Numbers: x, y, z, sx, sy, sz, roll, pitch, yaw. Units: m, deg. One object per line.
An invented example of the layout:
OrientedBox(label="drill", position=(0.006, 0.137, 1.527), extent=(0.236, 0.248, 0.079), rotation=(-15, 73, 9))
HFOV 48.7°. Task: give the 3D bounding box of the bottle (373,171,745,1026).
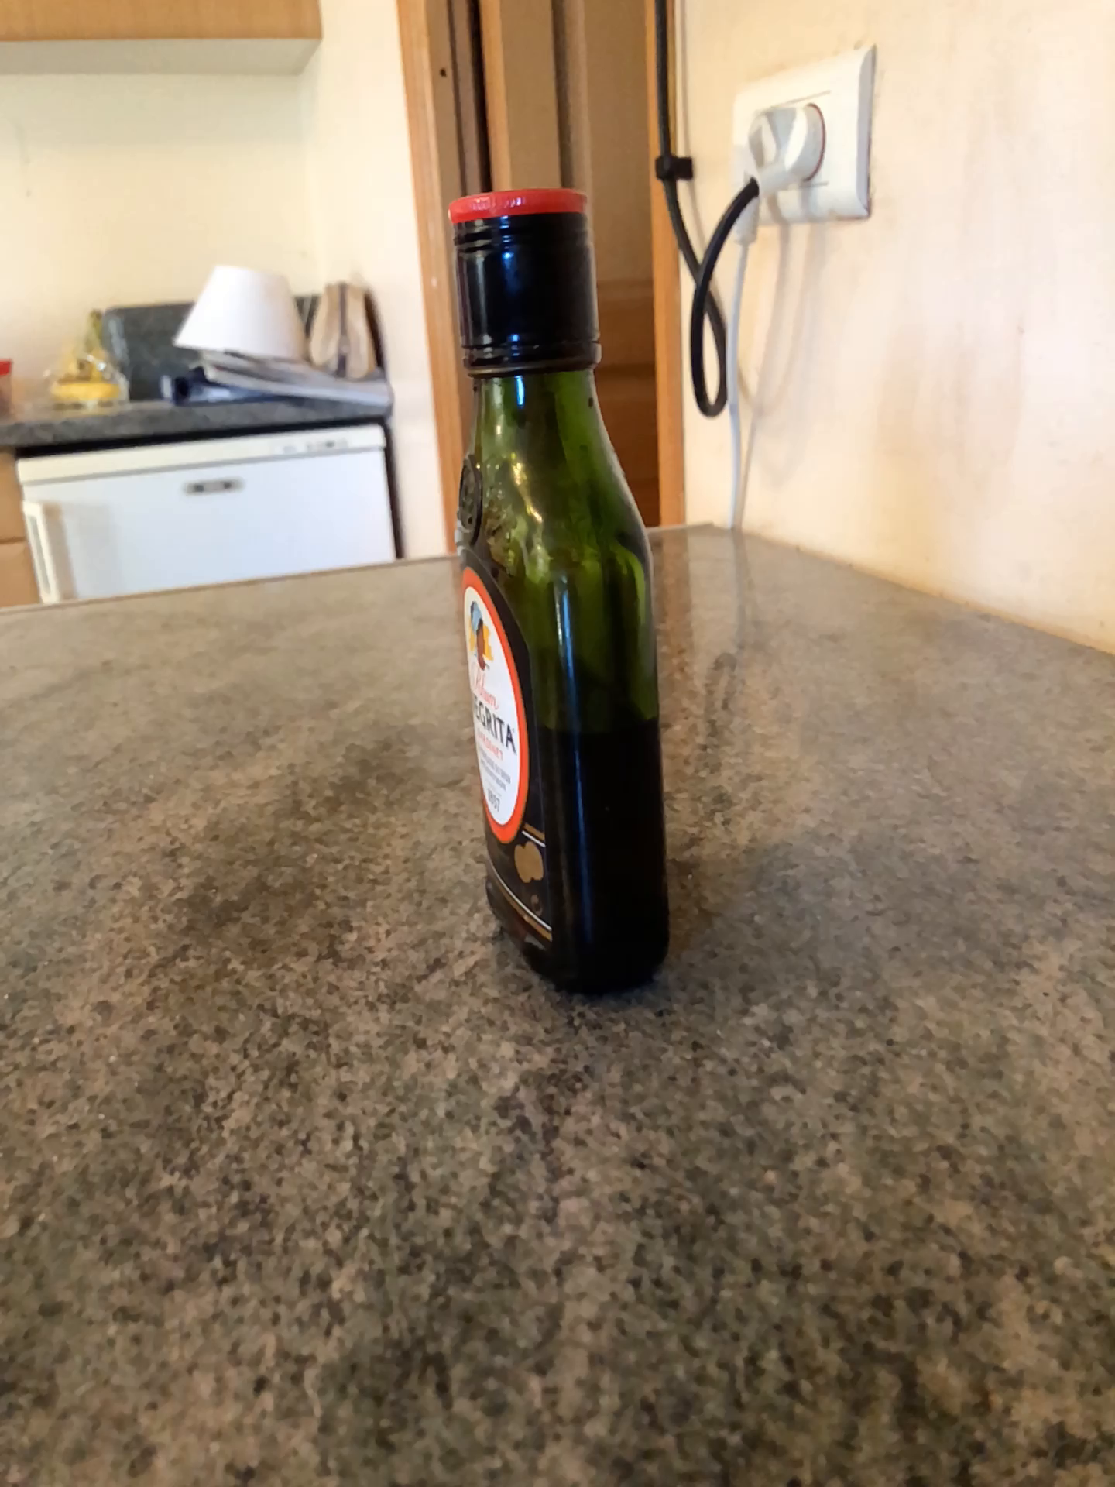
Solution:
OrientedBox(label="bottle", position=(0.000, -0.033, 0.271), extent=(0.050, 0.159, 0.080), rotation=(-9, 19, -16))
